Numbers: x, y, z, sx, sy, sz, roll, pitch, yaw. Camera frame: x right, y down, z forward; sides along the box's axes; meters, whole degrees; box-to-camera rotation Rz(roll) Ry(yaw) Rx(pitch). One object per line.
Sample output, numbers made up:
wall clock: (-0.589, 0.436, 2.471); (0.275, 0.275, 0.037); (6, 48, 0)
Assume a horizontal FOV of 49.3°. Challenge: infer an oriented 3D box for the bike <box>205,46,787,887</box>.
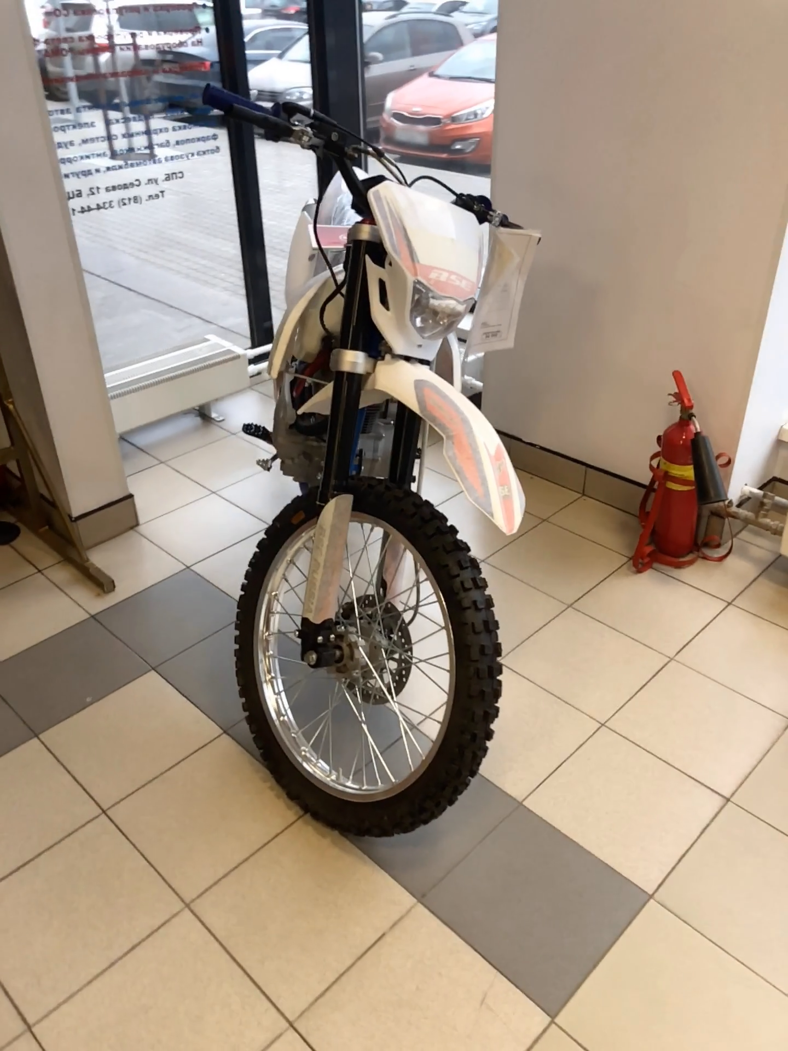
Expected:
bike: (0.078, -0.380, 2.105); (0.842, 1.219, 1.855); (-7, 34, -9)
